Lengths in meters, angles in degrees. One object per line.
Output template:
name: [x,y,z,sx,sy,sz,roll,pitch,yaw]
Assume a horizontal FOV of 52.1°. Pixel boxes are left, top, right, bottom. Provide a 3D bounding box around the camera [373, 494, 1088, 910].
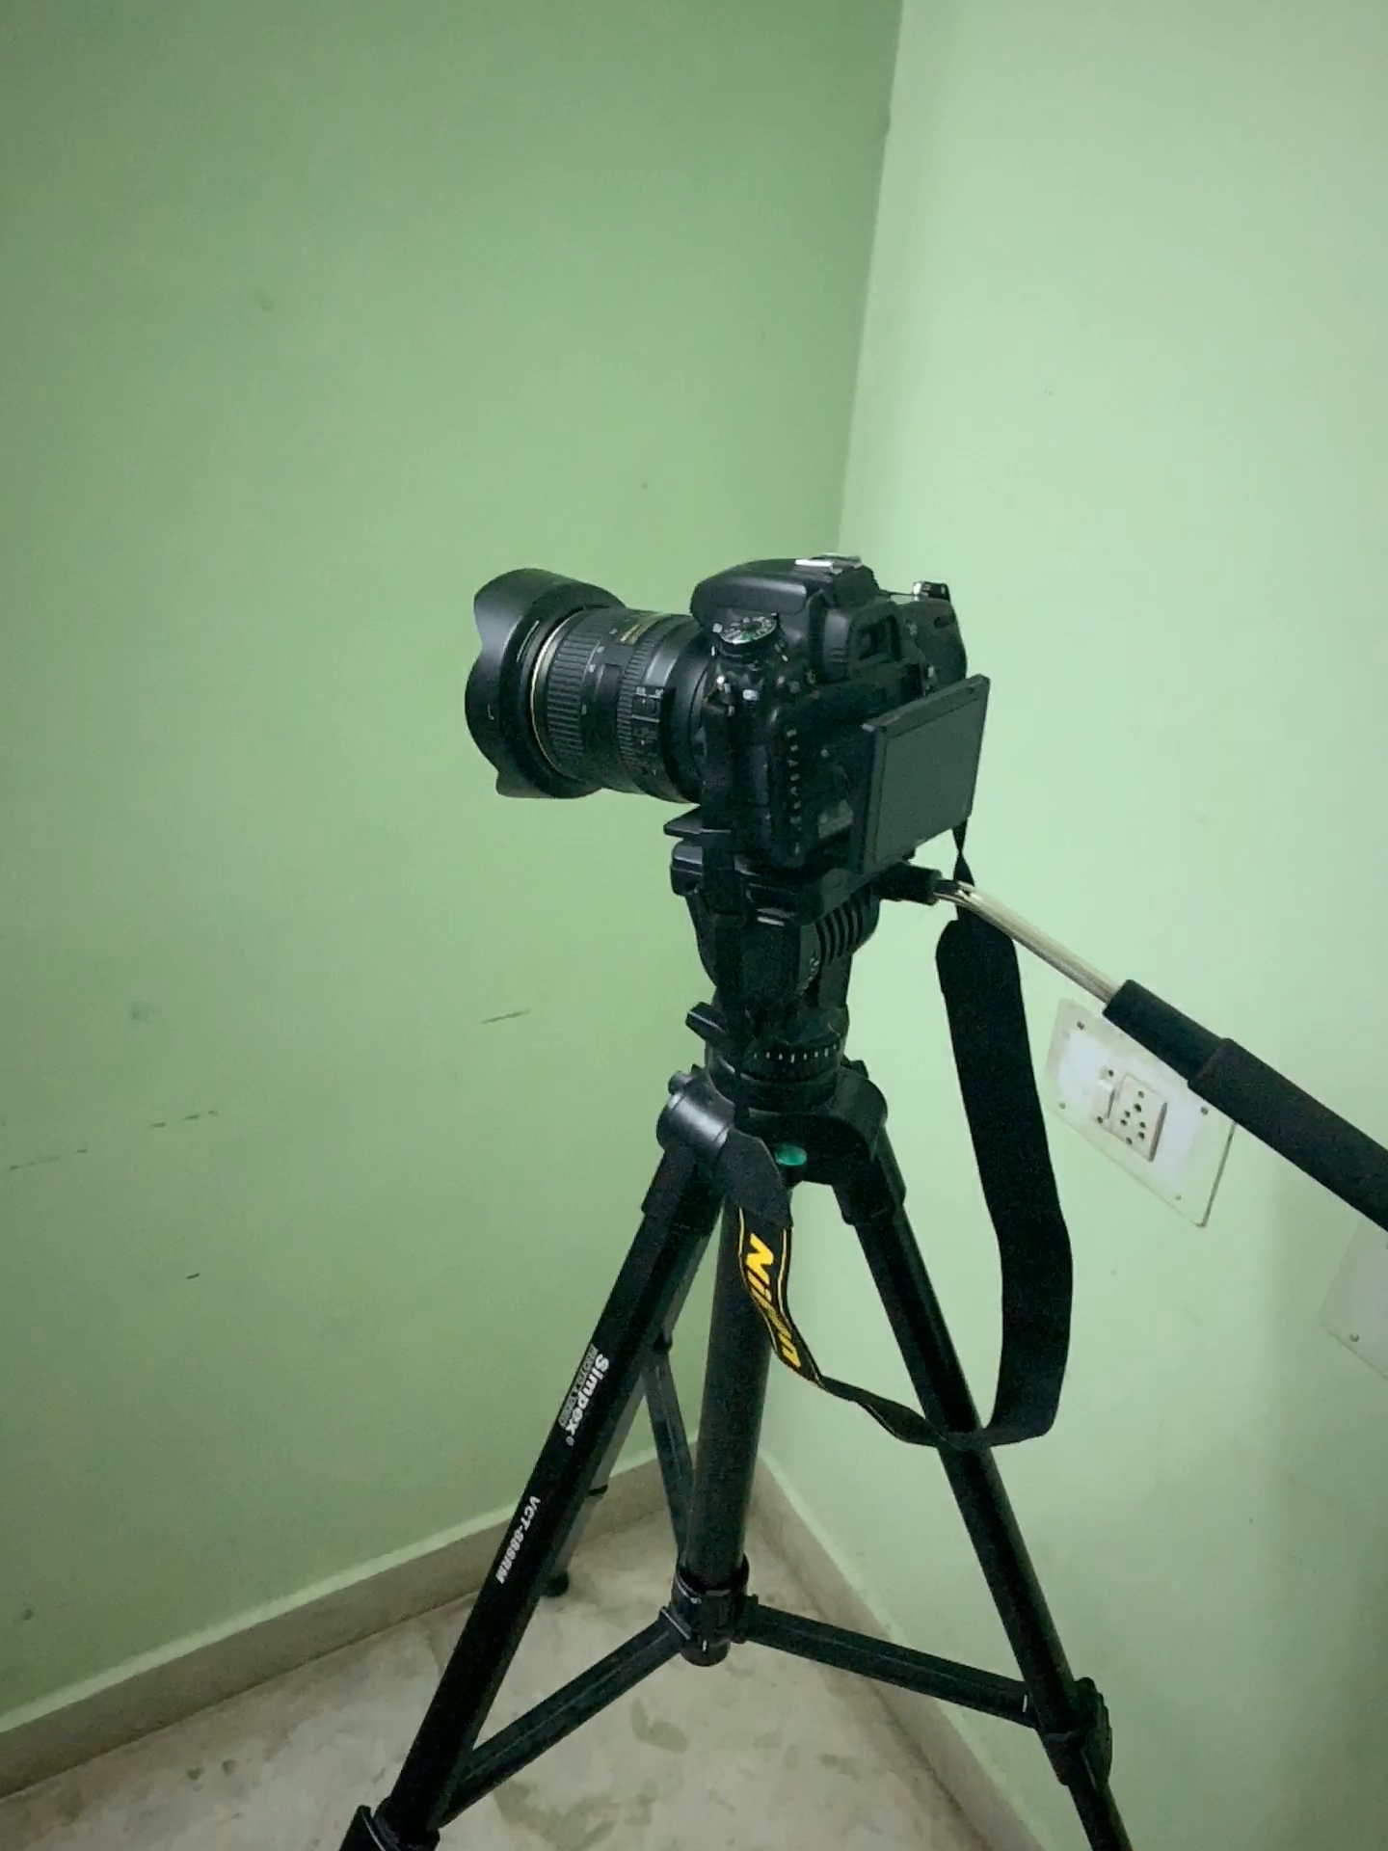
camera: [0.017,-0.116,0.642,0.267,0.127,0.160,12,28,32]
